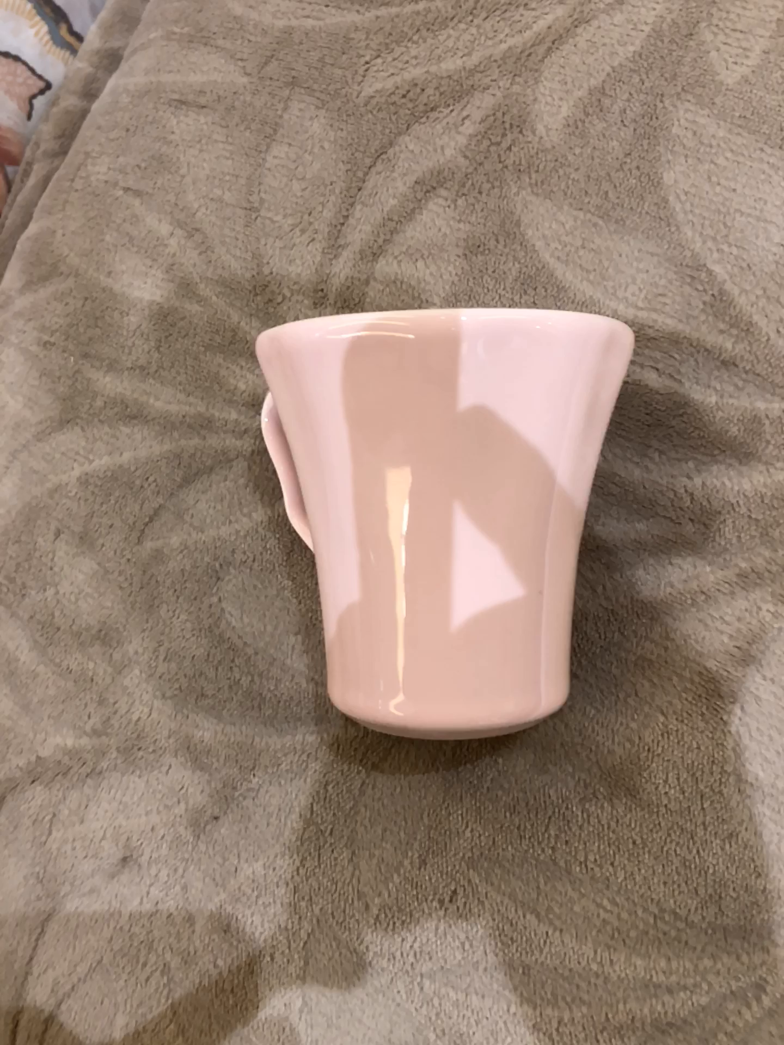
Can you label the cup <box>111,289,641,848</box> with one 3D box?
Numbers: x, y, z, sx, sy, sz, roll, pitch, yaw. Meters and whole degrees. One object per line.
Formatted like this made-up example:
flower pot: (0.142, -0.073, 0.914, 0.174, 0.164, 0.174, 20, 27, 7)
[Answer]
cup: (-0.007, 0.006, 0.201, 0.100, 0.070, 0.090, 1, 93, 46)
